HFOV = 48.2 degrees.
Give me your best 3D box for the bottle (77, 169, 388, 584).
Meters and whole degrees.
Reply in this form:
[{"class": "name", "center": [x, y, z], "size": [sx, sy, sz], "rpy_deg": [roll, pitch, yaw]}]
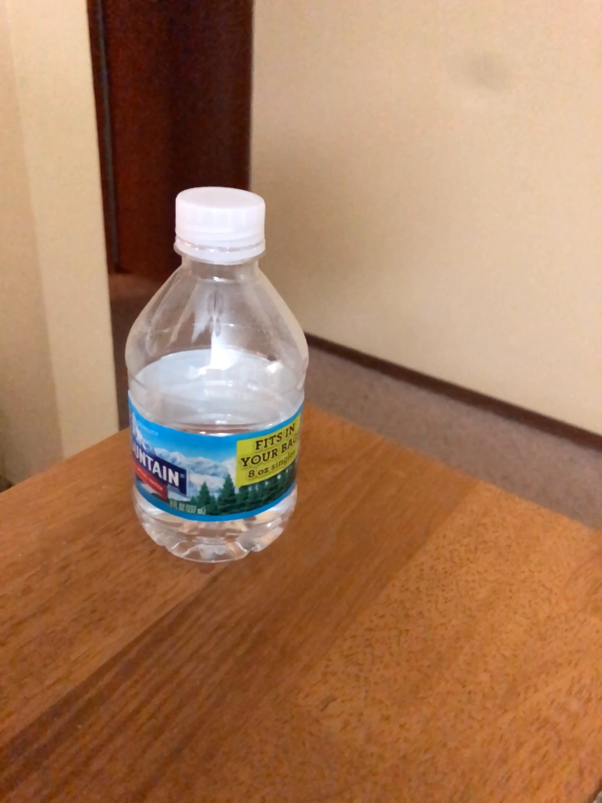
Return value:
[{"class": "bottle", "center": [-0.027, -0.013, 0.226], "size": [0.070, 0.110, 0.070], "rpy_deg": [3, 29, -2]}]
